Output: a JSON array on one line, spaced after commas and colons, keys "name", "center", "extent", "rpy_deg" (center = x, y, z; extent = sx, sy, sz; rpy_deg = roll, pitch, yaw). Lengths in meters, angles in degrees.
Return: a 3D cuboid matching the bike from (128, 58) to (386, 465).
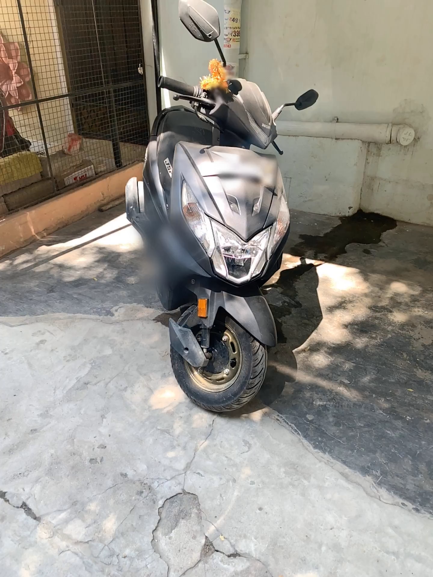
[{"name": "bike", "center": [0.000, -0.277, 2.105], "extent": [0.502, 1.278, 1.515], "rpy_deg": [-8, 34, -15]}]
